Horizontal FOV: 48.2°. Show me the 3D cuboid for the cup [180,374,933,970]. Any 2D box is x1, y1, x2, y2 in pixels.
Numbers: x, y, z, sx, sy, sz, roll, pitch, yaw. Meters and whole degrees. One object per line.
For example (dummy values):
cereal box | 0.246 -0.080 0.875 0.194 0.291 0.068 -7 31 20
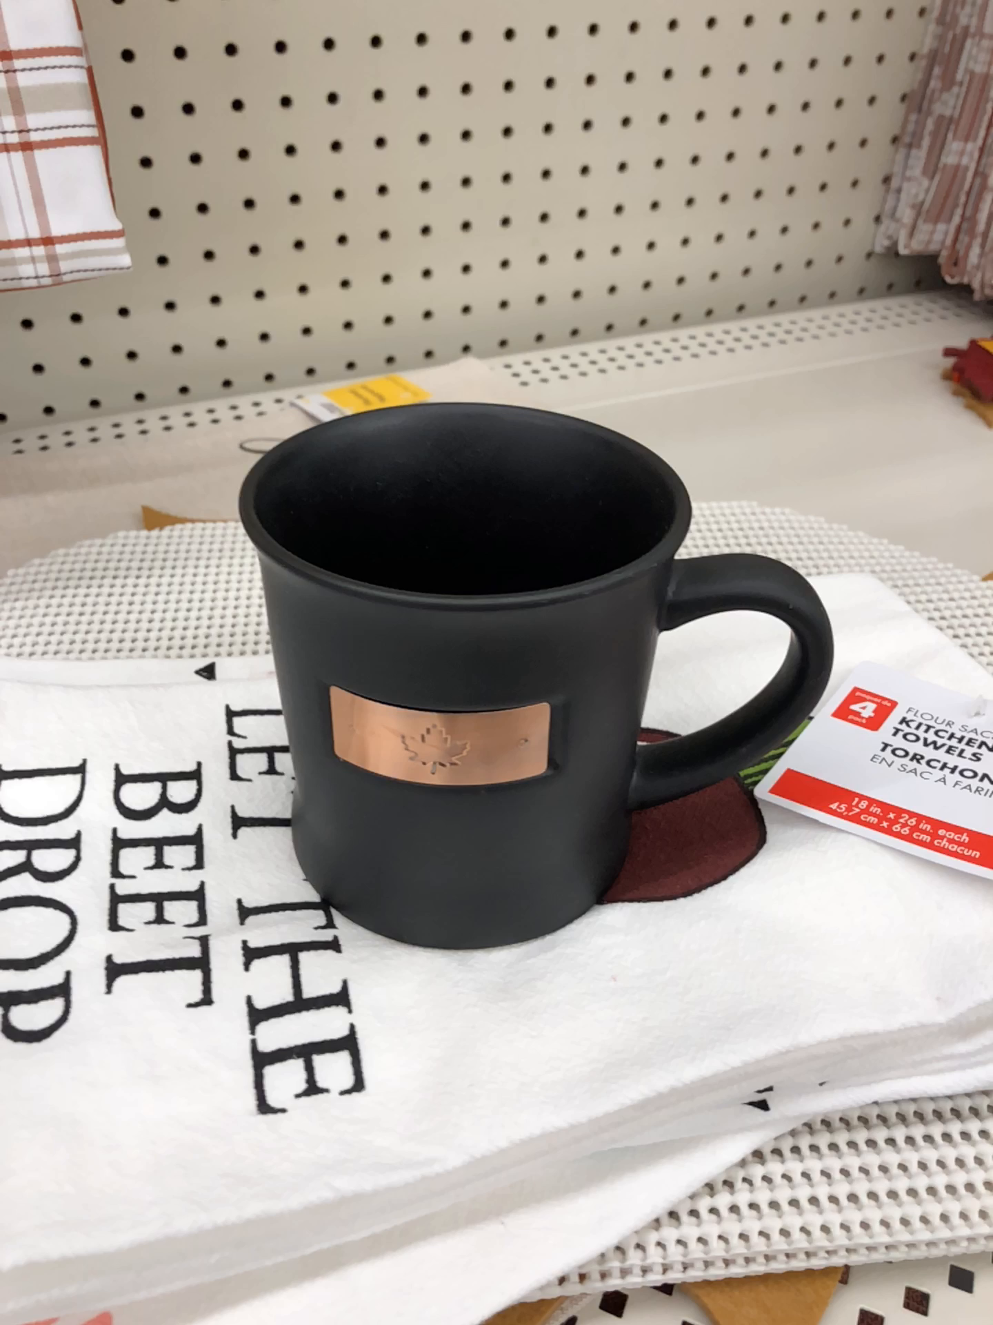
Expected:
cup | 0.011 0.001 0.279 0.140 0.110 0.100 1 38 0
